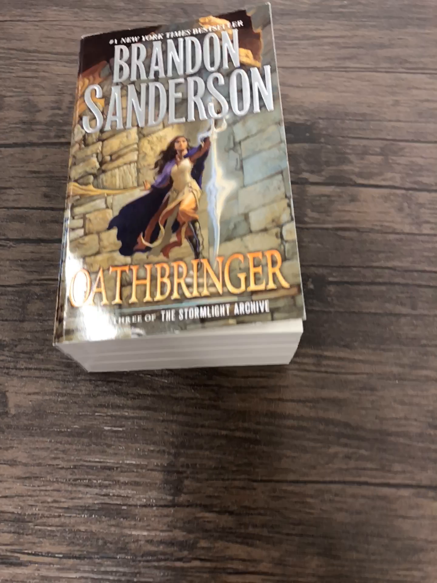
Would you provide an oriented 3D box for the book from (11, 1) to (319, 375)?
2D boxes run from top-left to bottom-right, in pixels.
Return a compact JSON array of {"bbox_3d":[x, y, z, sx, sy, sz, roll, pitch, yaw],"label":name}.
[{"bbox_3d":[-0.023,-0.051,0.233,0.111,0.058,0.167,-2,69,-1],"label":"book"}]
